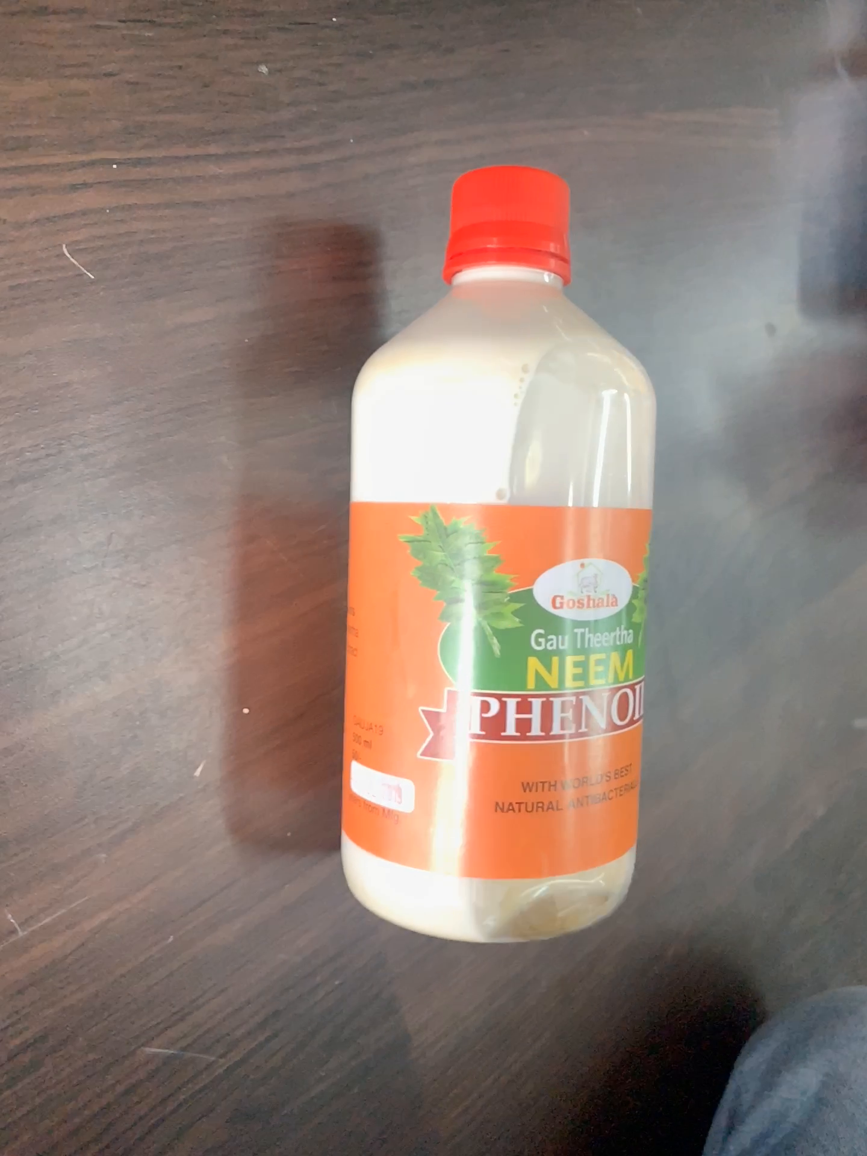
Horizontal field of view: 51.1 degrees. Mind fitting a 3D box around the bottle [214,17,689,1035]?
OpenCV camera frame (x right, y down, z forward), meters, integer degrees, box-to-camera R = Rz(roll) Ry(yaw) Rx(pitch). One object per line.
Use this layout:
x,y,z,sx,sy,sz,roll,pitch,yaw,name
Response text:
0.002,-0.009,0.221,0.080,0.070,0.190,-1,97,-39,bottle
